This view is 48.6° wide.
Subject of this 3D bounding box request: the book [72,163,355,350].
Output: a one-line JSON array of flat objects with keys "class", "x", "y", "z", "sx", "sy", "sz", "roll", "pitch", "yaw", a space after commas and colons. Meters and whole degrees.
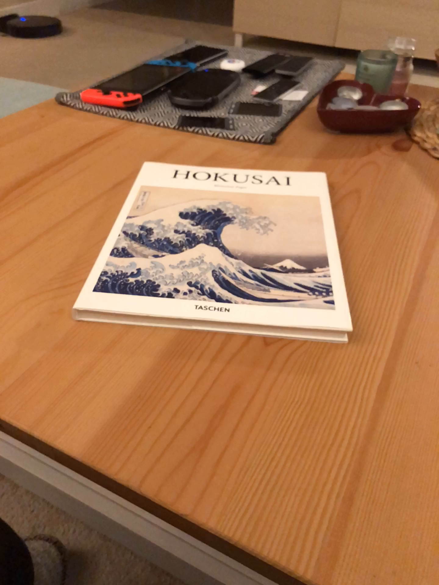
[{"class": "book", "x": 0.006, "y": -0.053, "z": 0.464, "sx": 0.210, "sy": 0.020, "sz": 0.253, "roll": 5, "pitch": 40, "yaw": 3}]
